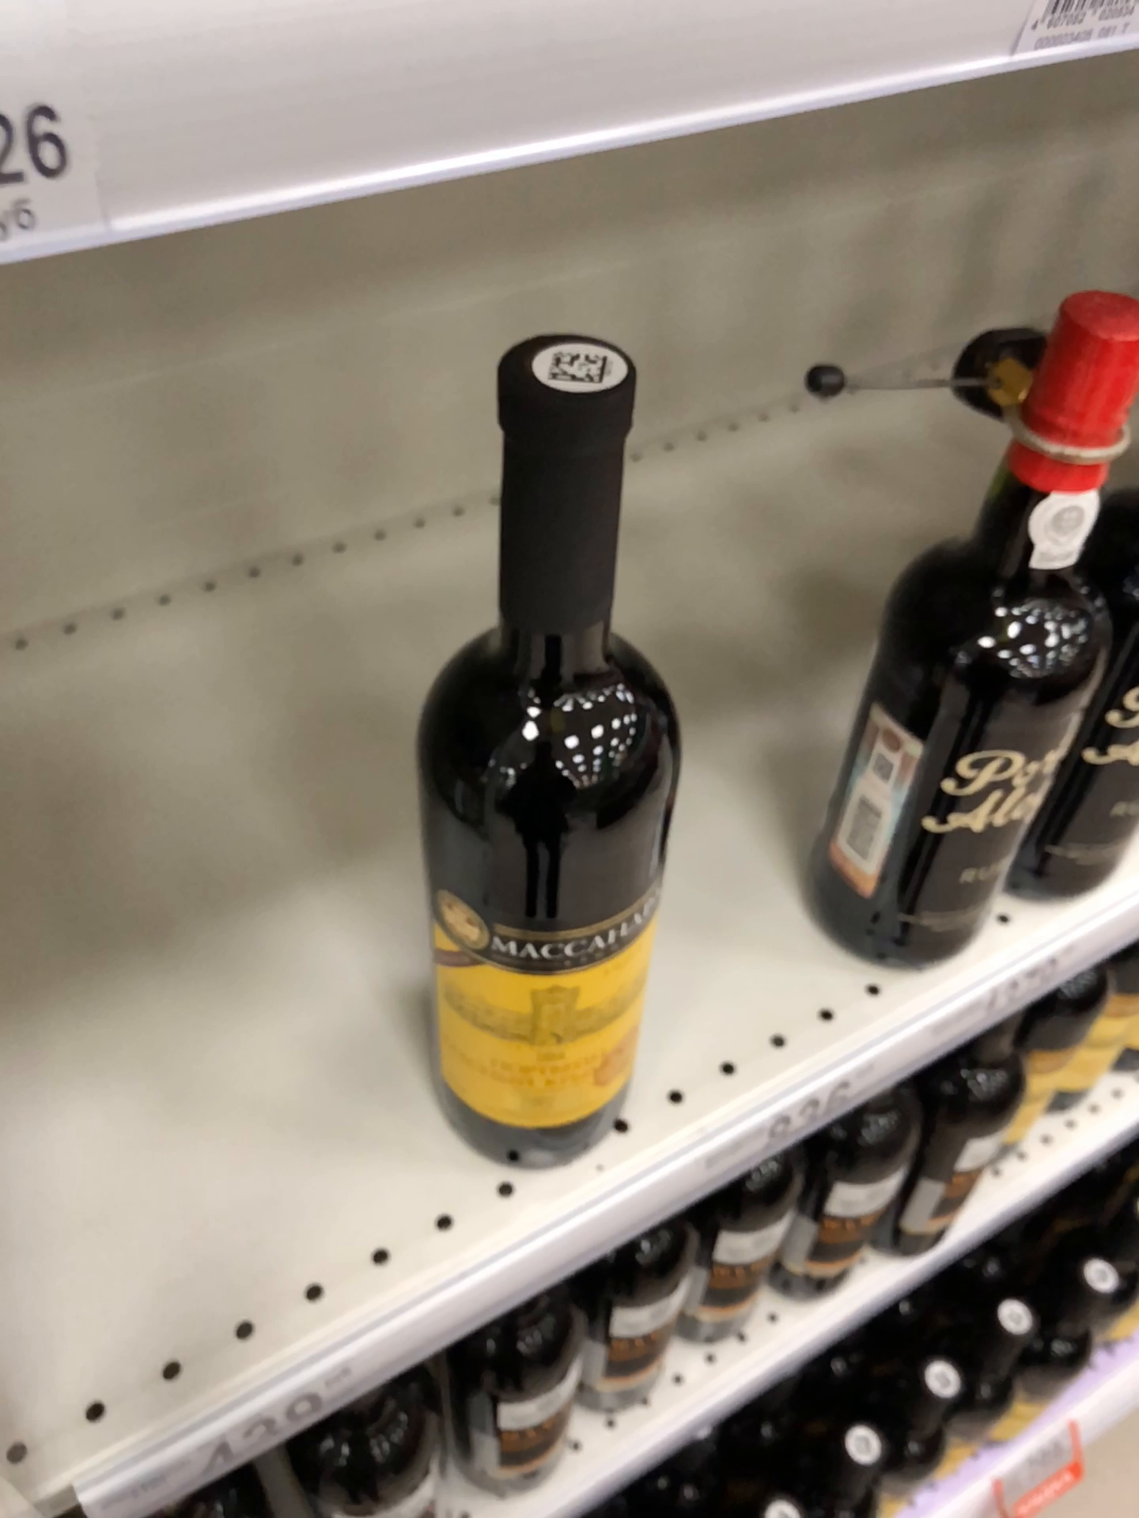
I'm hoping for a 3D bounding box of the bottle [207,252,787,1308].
[{"bbox_3d":[-0.027,0.040,0.394,0.100,0.348,0.101,2,46,-2],"label":"bottle"}]
